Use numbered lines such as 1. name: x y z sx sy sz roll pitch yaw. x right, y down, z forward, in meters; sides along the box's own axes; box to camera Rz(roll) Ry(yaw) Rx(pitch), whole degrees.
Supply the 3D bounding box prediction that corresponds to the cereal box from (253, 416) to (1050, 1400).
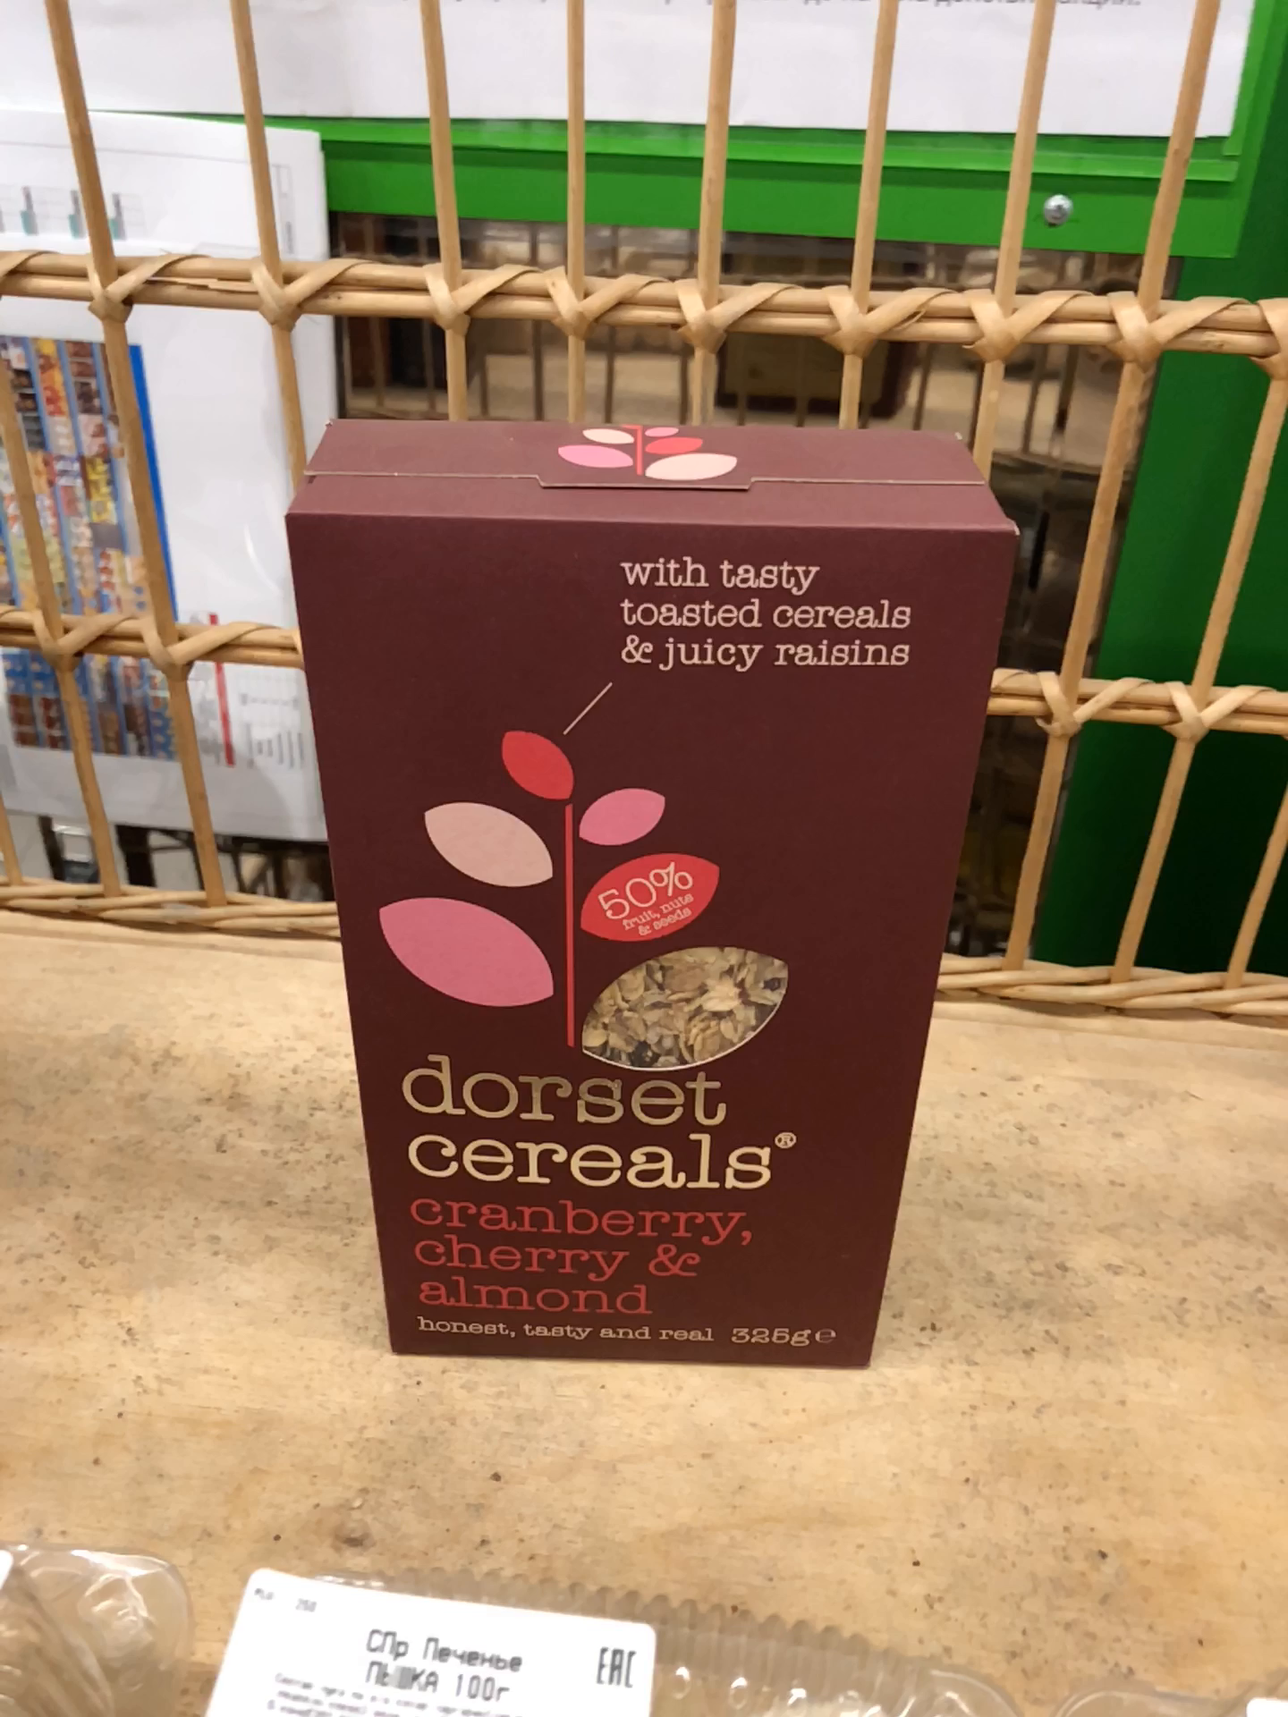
1. cereal box: -0.001 0.023 0.293 0.120 0.209 0.050 1 33 -1
